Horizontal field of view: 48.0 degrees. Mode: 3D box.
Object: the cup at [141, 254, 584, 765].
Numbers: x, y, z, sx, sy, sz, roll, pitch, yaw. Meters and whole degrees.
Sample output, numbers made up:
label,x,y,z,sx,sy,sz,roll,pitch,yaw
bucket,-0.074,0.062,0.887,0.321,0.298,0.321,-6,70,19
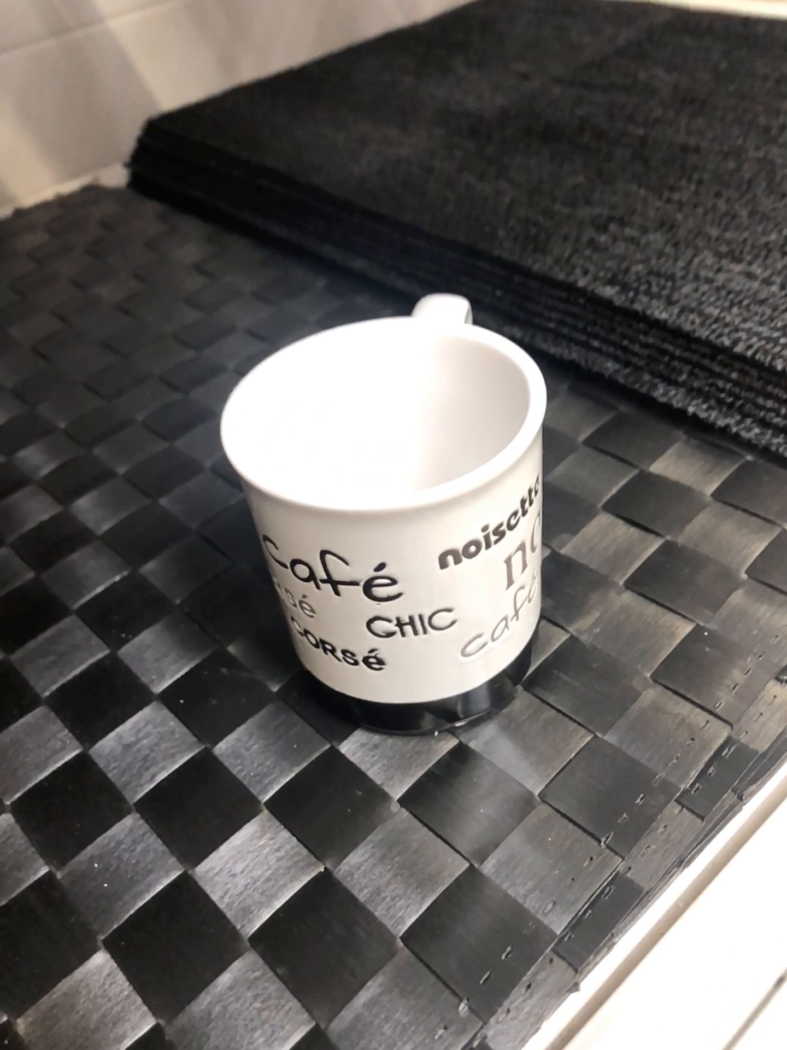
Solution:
label,x,y,z,sx,sy,sz,roll,pitch,yaw
cup,0.004,-0.009,0.202,0.067,0.066,0.093,5,44,16
